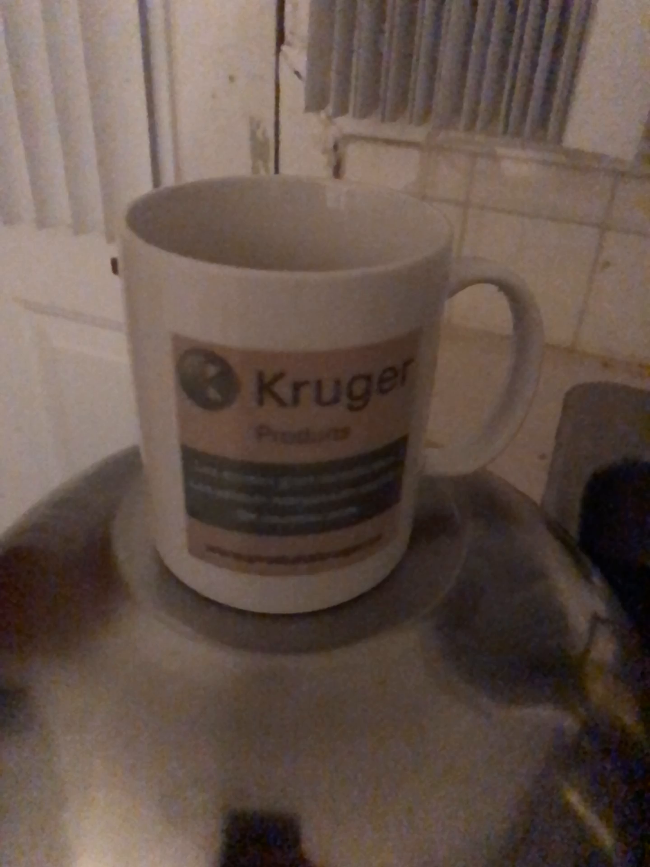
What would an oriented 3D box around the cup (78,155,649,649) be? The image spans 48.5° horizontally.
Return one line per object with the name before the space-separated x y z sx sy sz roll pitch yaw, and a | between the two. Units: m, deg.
cup | 0.002 -0.014 0.215 0.120 0.109 0.091 -2 33 -9
